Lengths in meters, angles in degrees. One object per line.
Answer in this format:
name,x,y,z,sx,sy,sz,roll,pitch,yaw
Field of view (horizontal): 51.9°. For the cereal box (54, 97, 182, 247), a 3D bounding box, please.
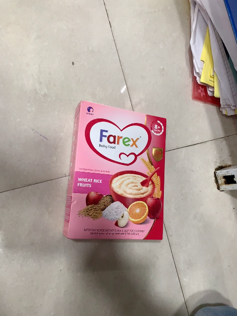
cereal box,0.006,0.026,0.360,0.170,0.050,0.190,8,79,-21
